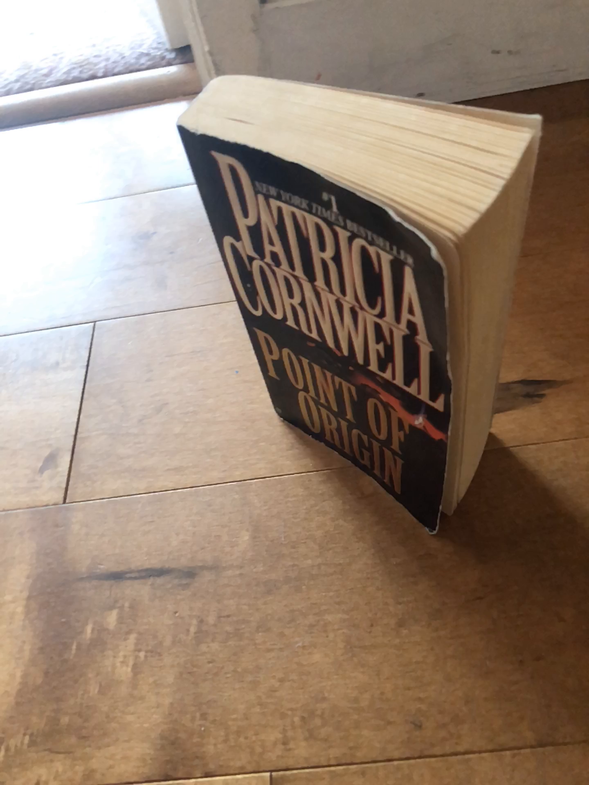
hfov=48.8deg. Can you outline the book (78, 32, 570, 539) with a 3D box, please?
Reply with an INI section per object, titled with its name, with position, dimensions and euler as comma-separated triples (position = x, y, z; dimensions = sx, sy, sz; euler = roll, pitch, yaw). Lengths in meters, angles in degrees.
[book]
position = 0.015, -0.030, 0.240
dimensions = 0.130, 0.159, 0.050
euler = 28, 66, 28
